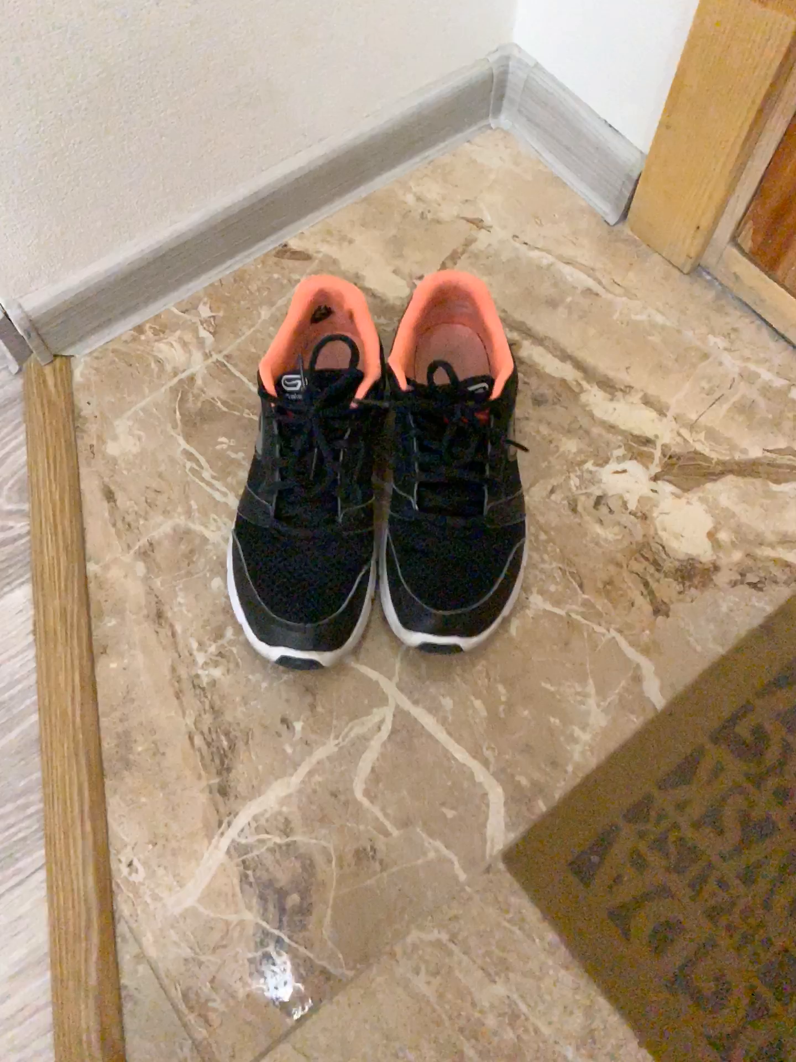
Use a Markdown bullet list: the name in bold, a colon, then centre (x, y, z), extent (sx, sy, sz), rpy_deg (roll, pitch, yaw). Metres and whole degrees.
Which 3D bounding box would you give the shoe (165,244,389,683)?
- **shoe**: centre (-0.061, -0.044, 0.505), extent (0.100, 0.100, 0.250), rpy_deg (2, 65, 1)

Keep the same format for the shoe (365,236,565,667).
- **shoe**: centre (0.038, -0.051, 0.505), extent (0.100, 0.100, 0.245), rpy_deg (2, 65, 1)
